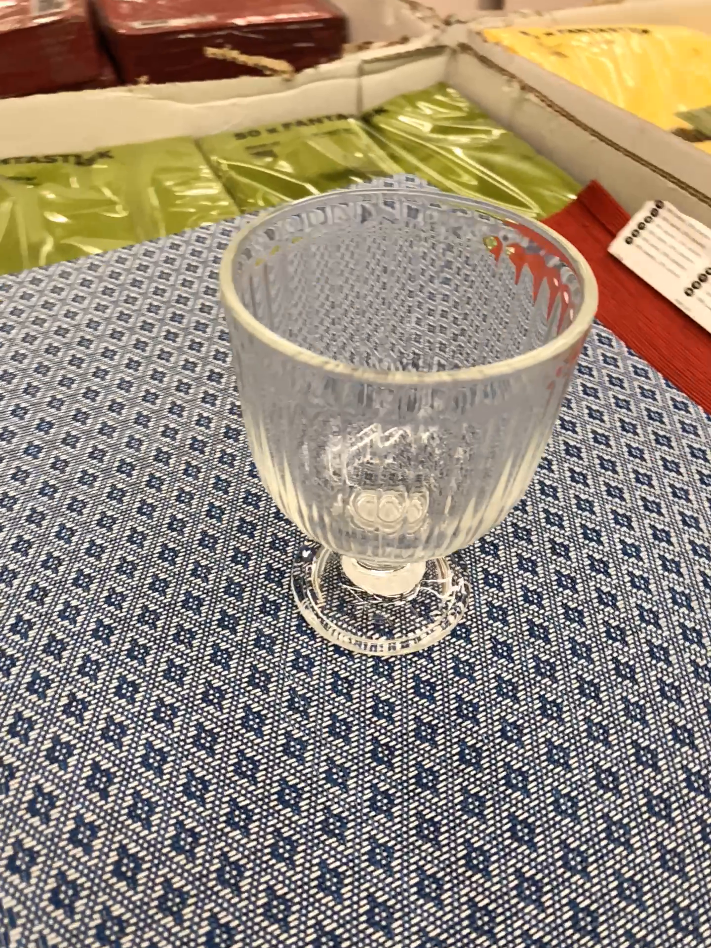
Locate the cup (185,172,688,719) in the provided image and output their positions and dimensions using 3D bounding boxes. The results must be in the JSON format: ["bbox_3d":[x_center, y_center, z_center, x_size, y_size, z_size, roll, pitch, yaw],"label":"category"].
[{"bbox_3d":[0.011,-0.011,0.233,0.100,0.110,0.100,0,42,0],"label":"cup"}]
